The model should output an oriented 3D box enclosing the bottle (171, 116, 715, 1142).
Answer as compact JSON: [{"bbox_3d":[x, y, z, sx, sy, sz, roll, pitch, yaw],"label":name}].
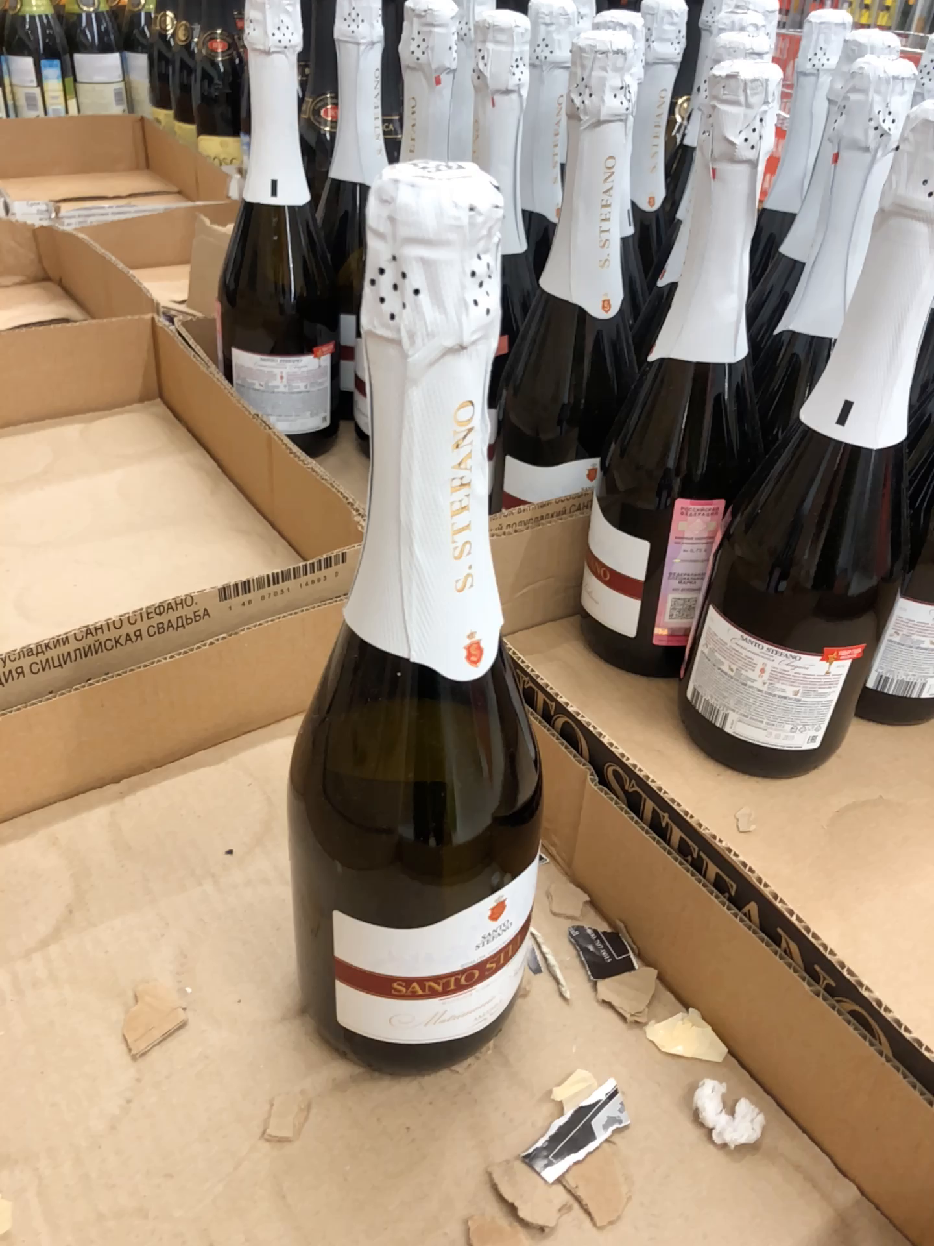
[{"bbox_3d":[-0.014,0.019,0.327,0.090,0.308,0.090,2,35,-2],"label":"bottle"}]
